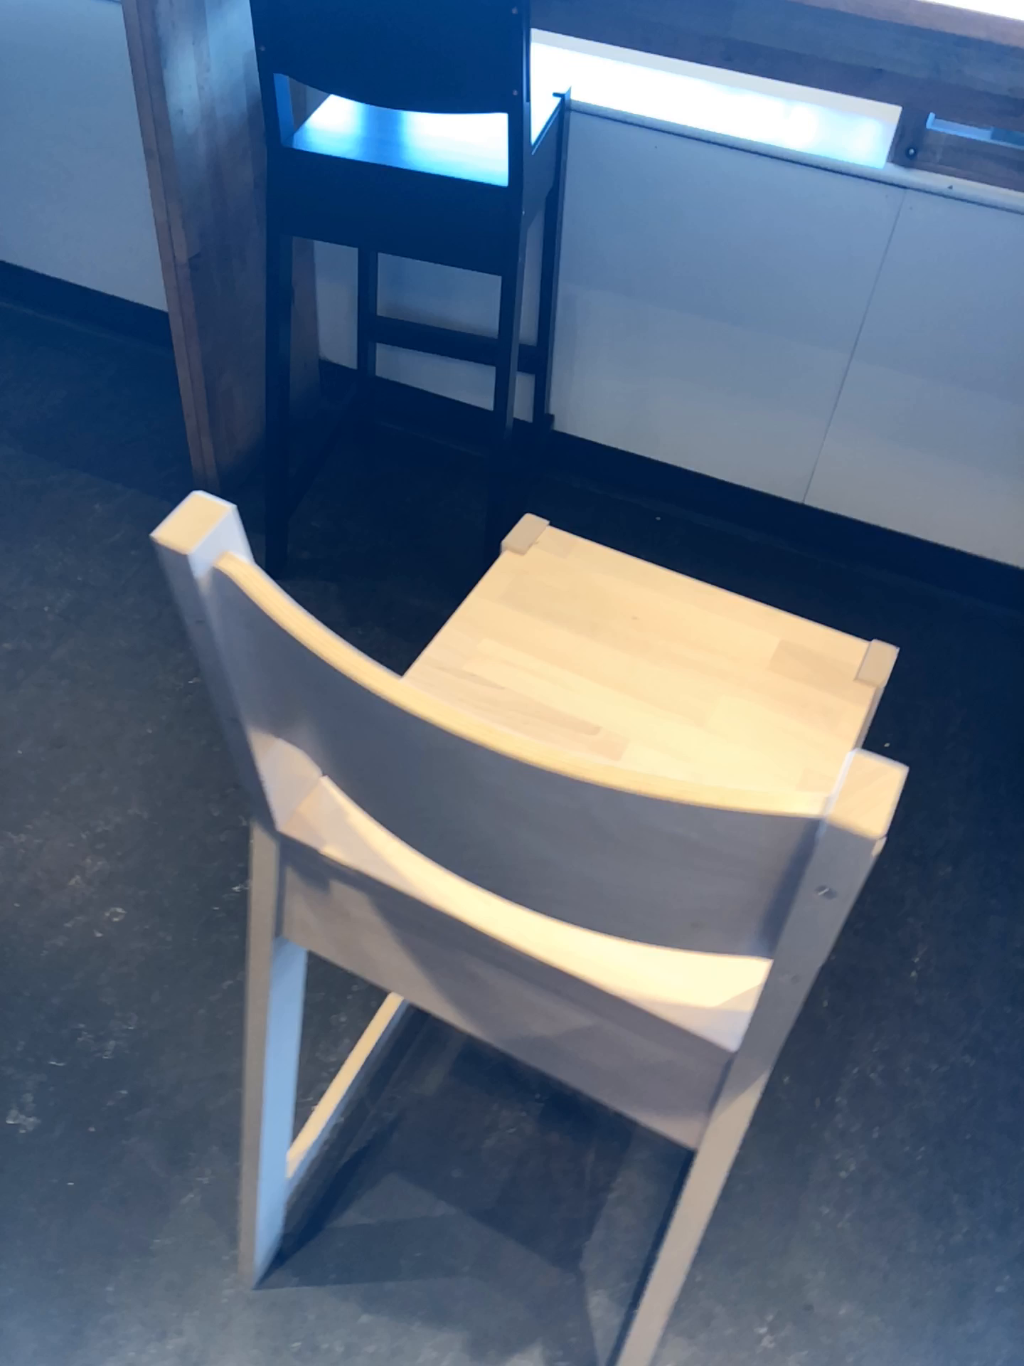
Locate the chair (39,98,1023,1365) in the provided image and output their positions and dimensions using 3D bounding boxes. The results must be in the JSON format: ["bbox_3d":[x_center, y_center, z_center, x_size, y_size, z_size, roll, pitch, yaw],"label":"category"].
[{"bbox_3d":[0.081,0.153,0.958,0.460,0.977,0.542,22,48,15],"label":"chair"}]
